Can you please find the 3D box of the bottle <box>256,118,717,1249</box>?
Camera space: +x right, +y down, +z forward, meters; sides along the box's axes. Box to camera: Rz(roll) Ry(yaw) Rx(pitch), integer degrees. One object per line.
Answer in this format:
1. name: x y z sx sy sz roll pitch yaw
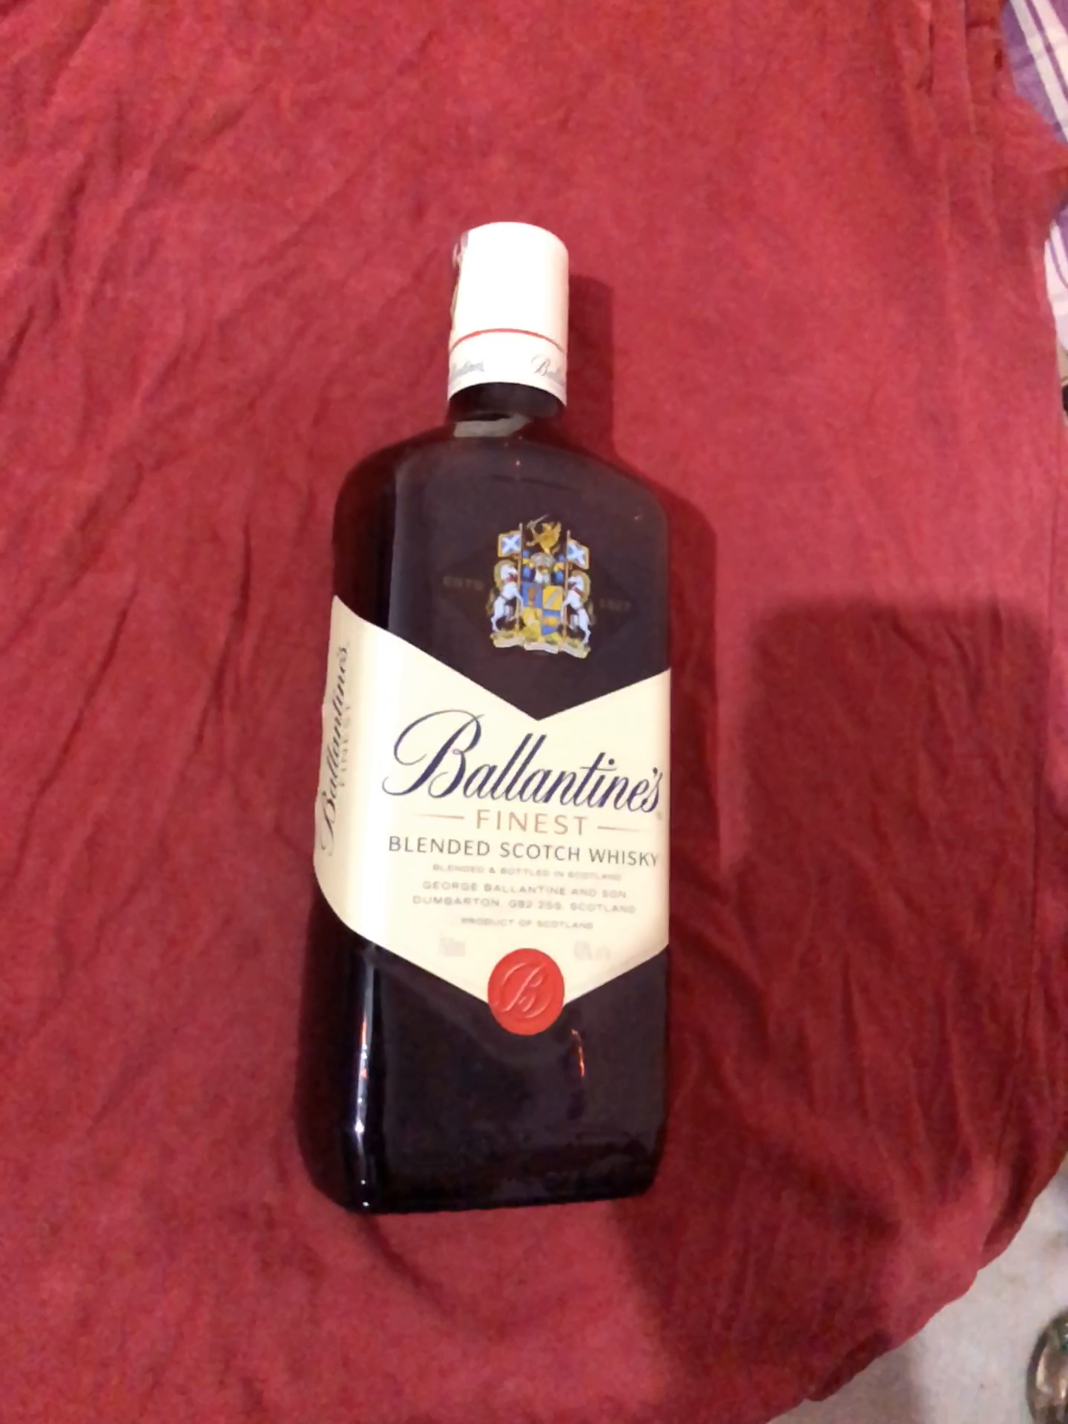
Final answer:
1. bottle: -0.009 -0.007 0.299 0.090 0.050 0.250 7 81 -25
